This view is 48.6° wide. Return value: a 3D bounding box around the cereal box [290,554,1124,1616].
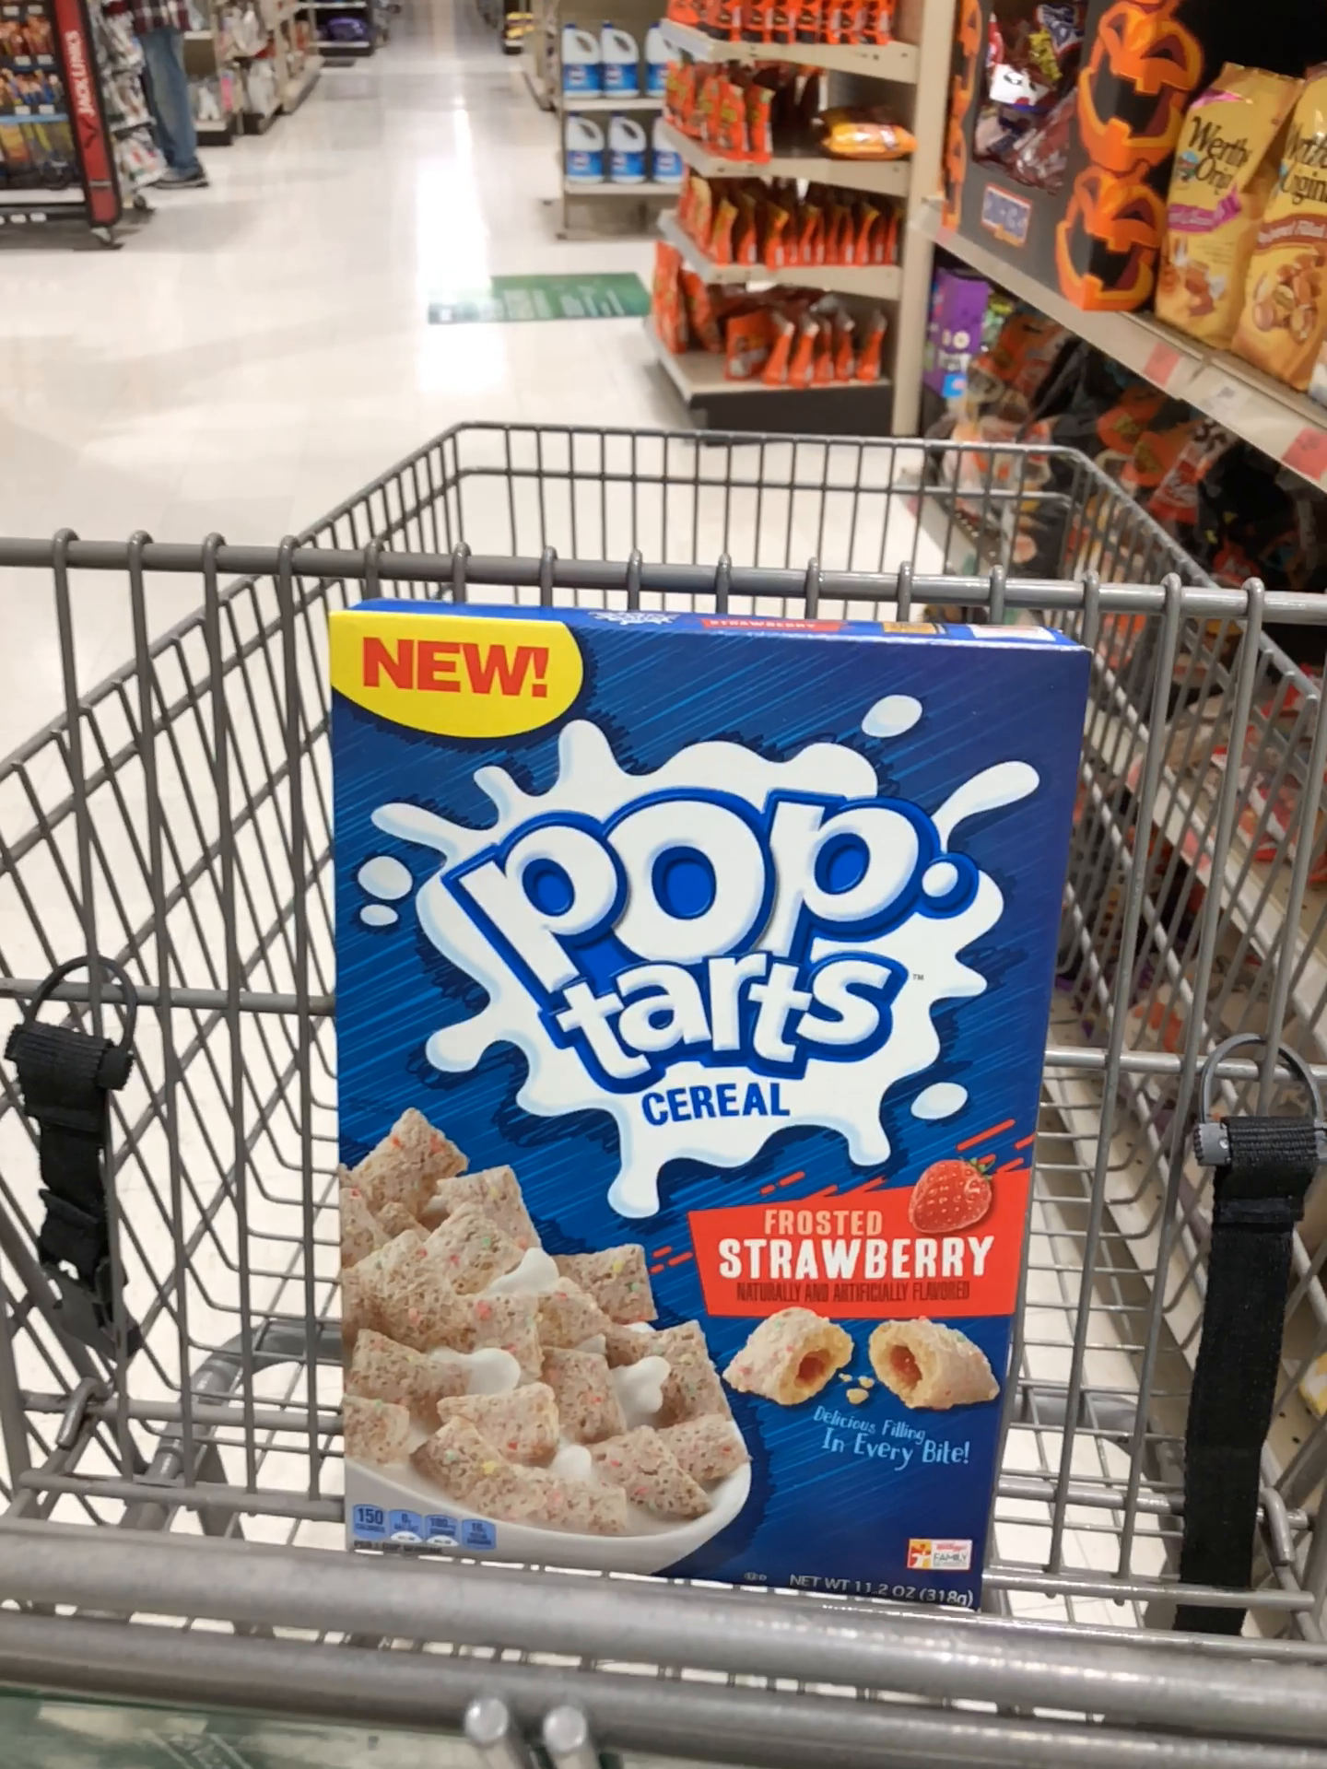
[{"bbox_3d":[0.006,0.055,0.408,0.200,0.280,0.050,3,14,6],"label":"cereal box"}]
